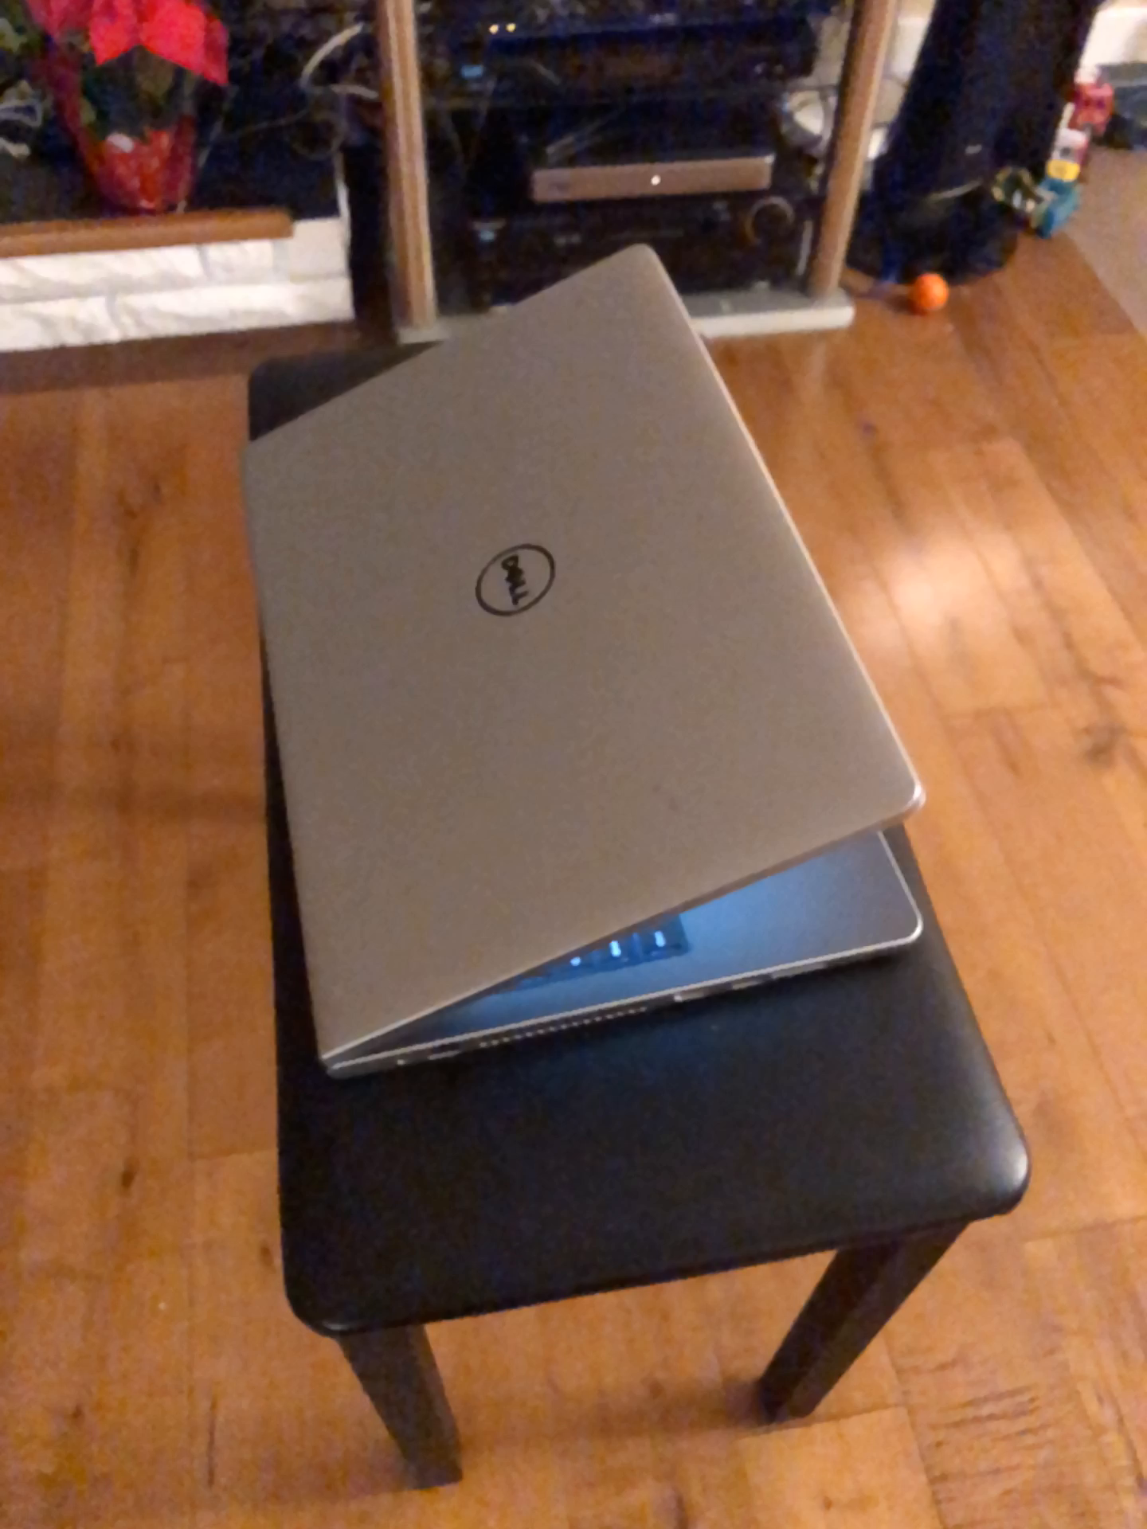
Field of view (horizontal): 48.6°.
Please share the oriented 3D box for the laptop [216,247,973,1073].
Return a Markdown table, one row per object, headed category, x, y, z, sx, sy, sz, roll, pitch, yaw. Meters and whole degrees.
| category | x | y | z | sx | sy | sz | roll | pitch | yaw |
| --- | --- | --- | --- | --- | --- | --- | --- | --- | --- |
| laptop | -0.019 | -0.076 | 0.592 | 0.247 | 0.107 | 0.367 | -11 | 53 | -8 |
